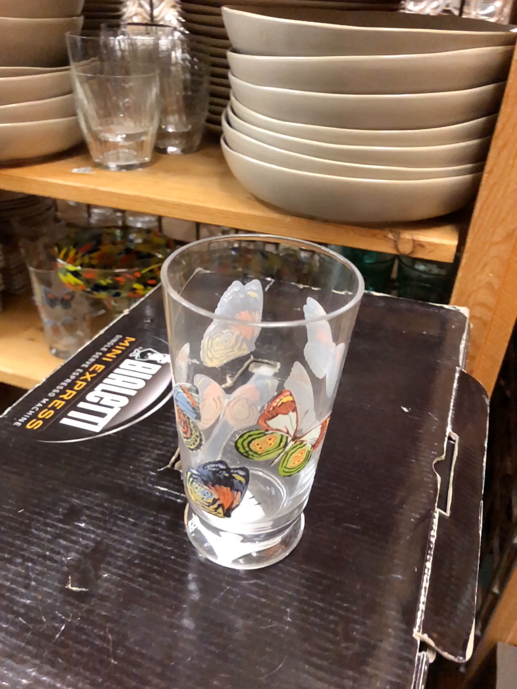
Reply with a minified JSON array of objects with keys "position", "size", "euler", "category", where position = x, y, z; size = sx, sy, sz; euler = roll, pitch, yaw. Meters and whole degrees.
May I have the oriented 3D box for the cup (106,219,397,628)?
[{"position":[0.000,0.028,0.231],"size":[0.075,0.125,0.079],"euler":[2,32,-1],"category":"cup"}]
